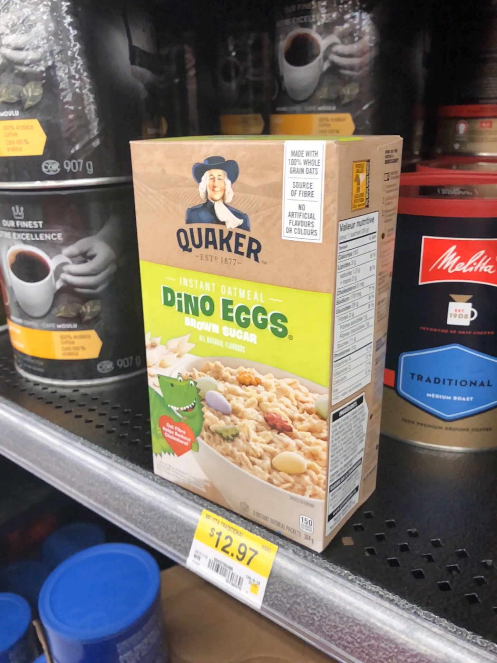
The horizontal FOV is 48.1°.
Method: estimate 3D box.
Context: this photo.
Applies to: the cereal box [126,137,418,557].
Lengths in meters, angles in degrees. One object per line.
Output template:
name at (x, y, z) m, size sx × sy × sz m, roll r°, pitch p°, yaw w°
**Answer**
cereal box at (0.010, -0.003, 0.312) m, size 0.130 × 0.199 × 0.070 m, roll 14°, pitch 23°, yaw 35°
